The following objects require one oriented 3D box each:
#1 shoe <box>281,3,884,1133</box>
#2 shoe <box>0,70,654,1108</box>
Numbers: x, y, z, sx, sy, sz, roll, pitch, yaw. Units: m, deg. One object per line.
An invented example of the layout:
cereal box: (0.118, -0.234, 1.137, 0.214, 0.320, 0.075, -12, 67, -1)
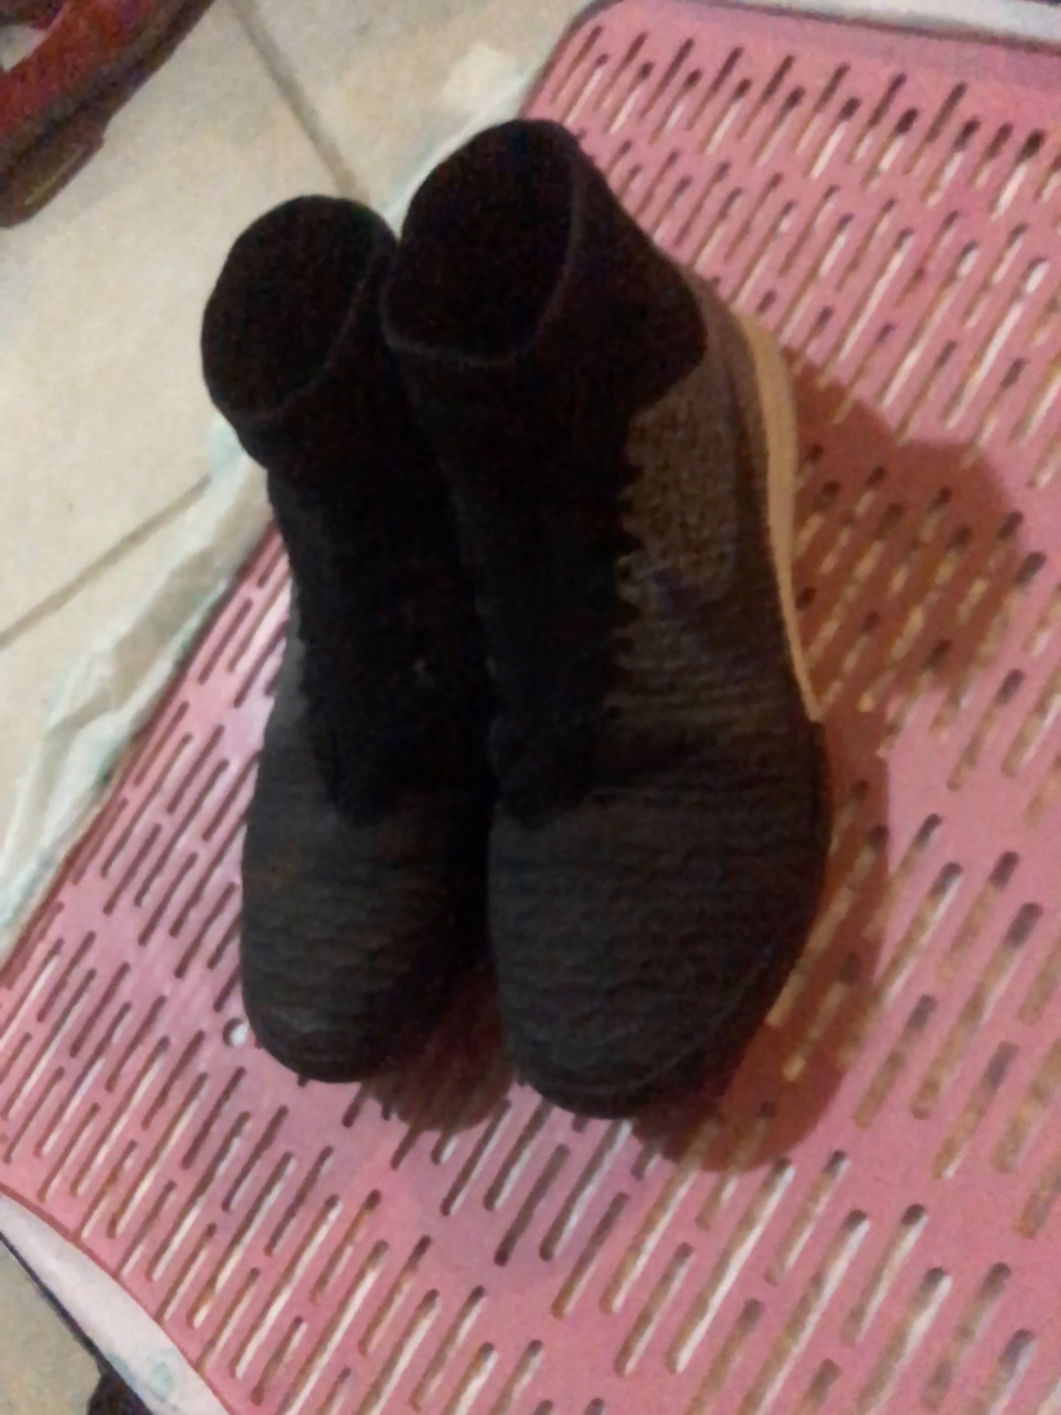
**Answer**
shoe: (0.032, -0.023, 0.335, 0.100, 0.149, 0.260, -5, 69, 24)
shoe: (-0.051, -0.025, 0.376, 0.100, 0.149, 0.270, 2, 72, 26)
